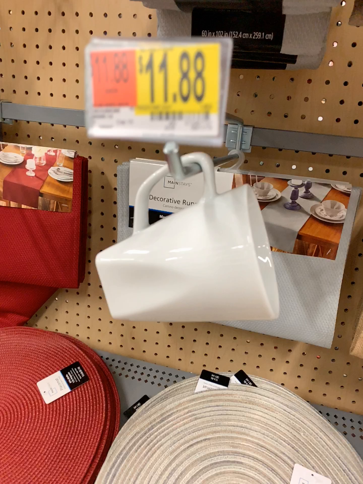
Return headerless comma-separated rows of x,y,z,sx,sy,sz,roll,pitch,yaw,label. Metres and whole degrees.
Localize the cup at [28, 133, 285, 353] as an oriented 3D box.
-0.005,-0.002,0.263,0.140,0.120,0.090,-4,16,18,cup
